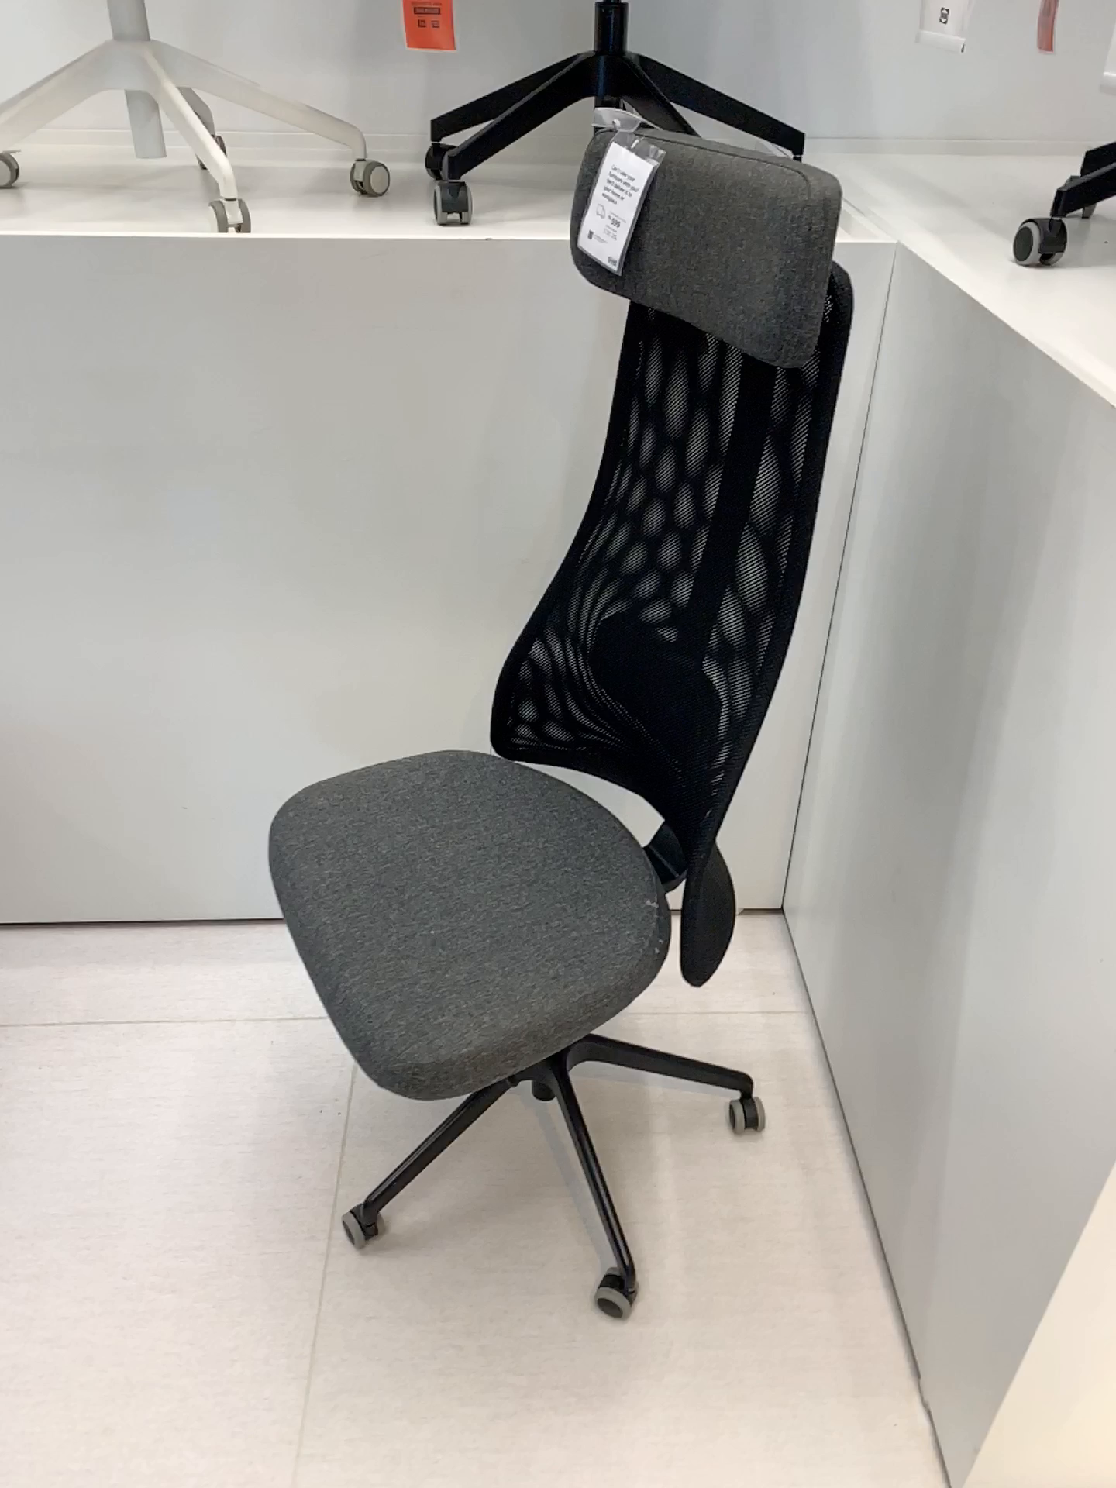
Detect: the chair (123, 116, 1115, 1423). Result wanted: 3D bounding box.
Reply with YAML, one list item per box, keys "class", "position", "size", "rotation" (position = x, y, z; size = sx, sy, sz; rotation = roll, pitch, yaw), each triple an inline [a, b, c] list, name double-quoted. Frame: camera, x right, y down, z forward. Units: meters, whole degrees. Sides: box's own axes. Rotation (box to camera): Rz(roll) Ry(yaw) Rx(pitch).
- class: "chair"
  position: [-0.004, 0.031, 1.328]
  size: [0.670, 1.264, 0.663]
  rotation: [-12, 37, -18]
